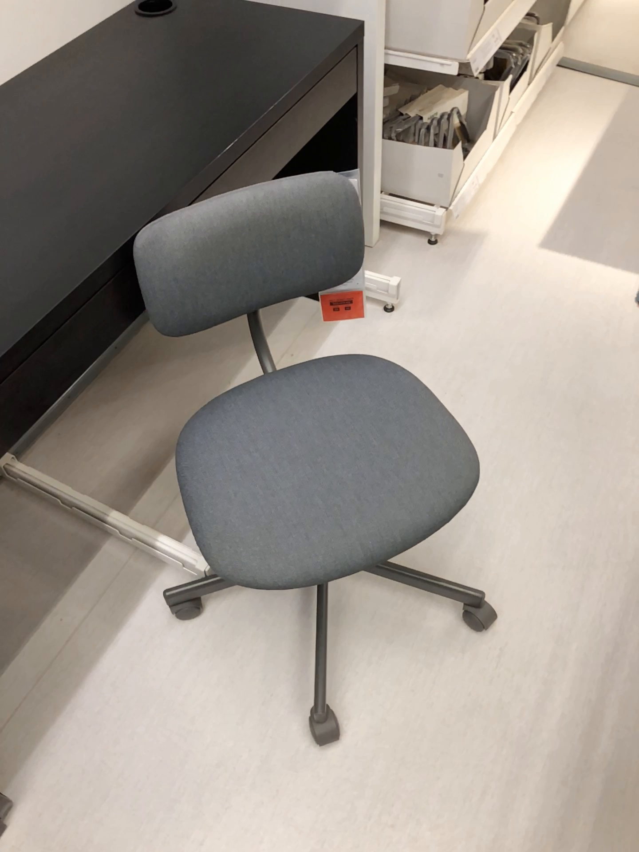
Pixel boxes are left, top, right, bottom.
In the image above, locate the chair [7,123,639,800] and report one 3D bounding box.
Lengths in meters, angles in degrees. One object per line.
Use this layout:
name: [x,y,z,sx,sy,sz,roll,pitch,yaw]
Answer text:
chair: [0.002,0.058,1.089,0.620,0.676,0.593,-21,52,-14]
